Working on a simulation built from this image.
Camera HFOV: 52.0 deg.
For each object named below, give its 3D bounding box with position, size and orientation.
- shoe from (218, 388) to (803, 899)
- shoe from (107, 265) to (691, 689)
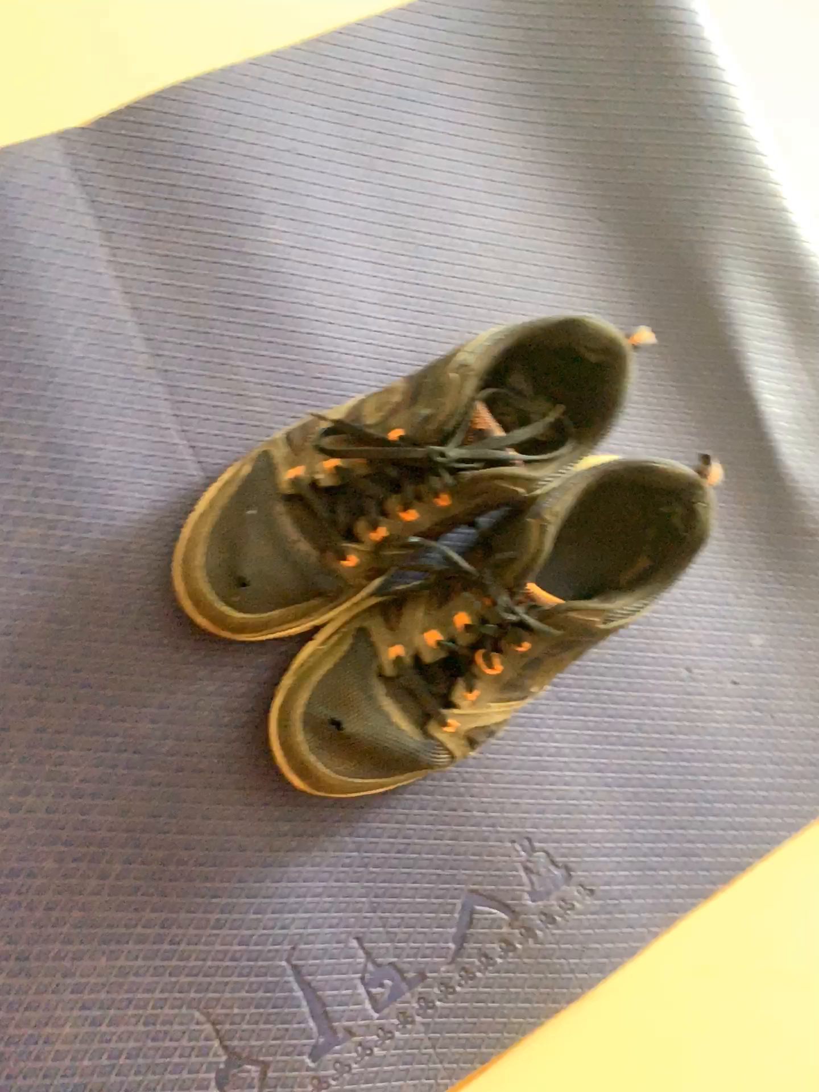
[{"bbox_3d":[0.056,0.046,0.486,0.310,0.100,0.110,-33,90,-13],"label":"shoe"},{"bbox_3d":[-0.004,-0.045,0.509,0.320,0.100,0.100,-29,96,-13],"label":"shoe"}]
